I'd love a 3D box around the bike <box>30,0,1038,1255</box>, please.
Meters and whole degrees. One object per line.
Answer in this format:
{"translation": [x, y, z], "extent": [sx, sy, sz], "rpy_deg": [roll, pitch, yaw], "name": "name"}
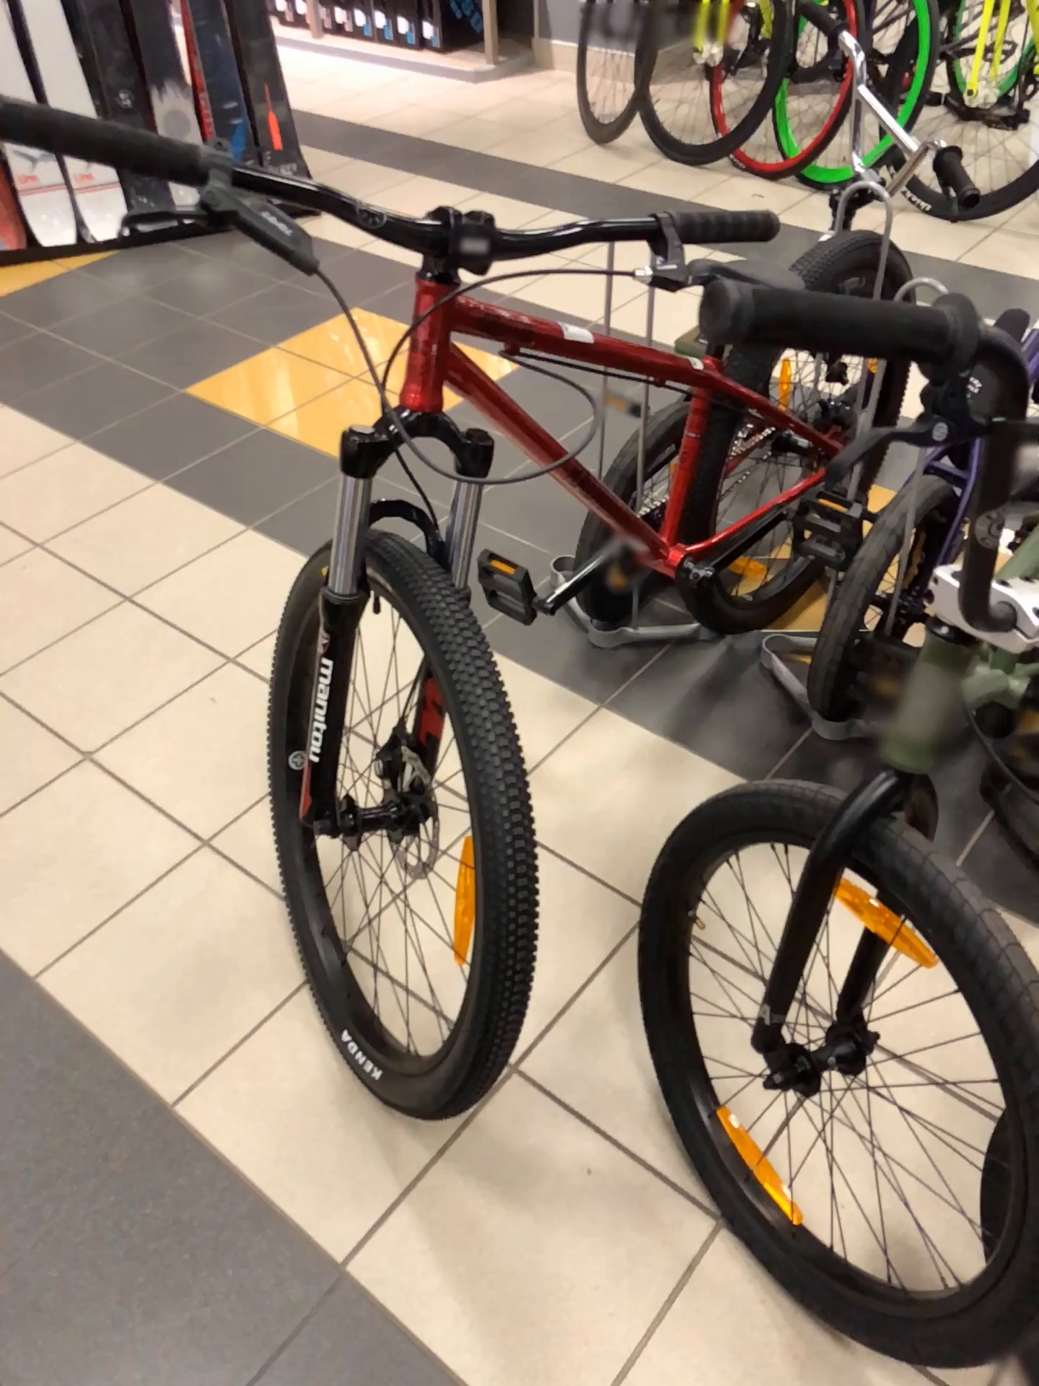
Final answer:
{"translation": [0.260, -0.331, 1.436], "extent": [0.713, 0.997, 1.342], "rpy_deg": [21, 45, 25], "name": "bike"}
